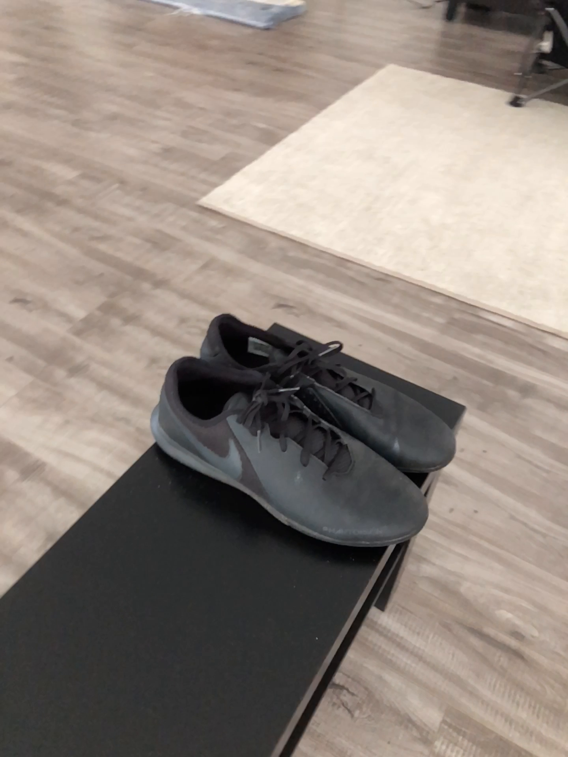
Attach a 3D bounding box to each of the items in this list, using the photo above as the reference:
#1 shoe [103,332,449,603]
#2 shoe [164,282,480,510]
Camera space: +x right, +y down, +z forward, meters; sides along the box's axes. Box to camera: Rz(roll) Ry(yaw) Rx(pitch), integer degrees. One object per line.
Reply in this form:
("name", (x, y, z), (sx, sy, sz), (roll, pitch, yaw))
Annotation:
("shoe", (-0.013, 0.076, 0.591), (0.294, 0.110, 0.100), (22, 48, 18))
("shoe", (0.033, 0.012, 0.651), (0.294, 0.110, 0.100), (20, 47, 16))
